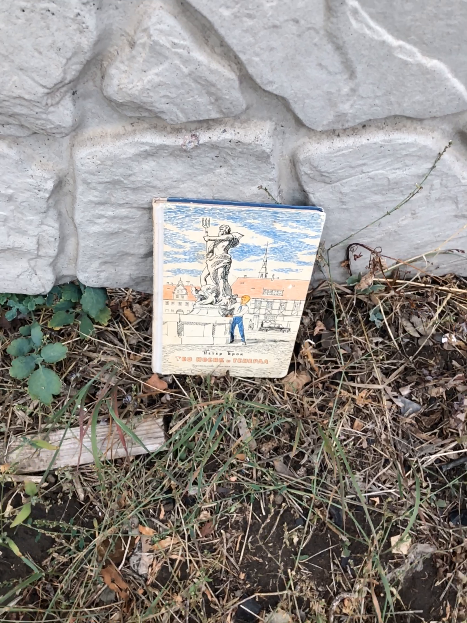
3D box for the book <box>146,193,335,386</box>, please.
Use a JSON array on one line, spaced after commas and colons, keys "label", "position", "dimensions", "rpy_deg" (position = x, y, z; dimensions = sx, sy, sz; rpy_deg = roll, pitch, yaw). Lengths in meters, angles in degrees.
[{"label": "book", "position": [0.002, -0.010, 0.481], "dimensions": [0.150, 0.200, 0.020], "rpy_deg": [4, 40, 1]}]
